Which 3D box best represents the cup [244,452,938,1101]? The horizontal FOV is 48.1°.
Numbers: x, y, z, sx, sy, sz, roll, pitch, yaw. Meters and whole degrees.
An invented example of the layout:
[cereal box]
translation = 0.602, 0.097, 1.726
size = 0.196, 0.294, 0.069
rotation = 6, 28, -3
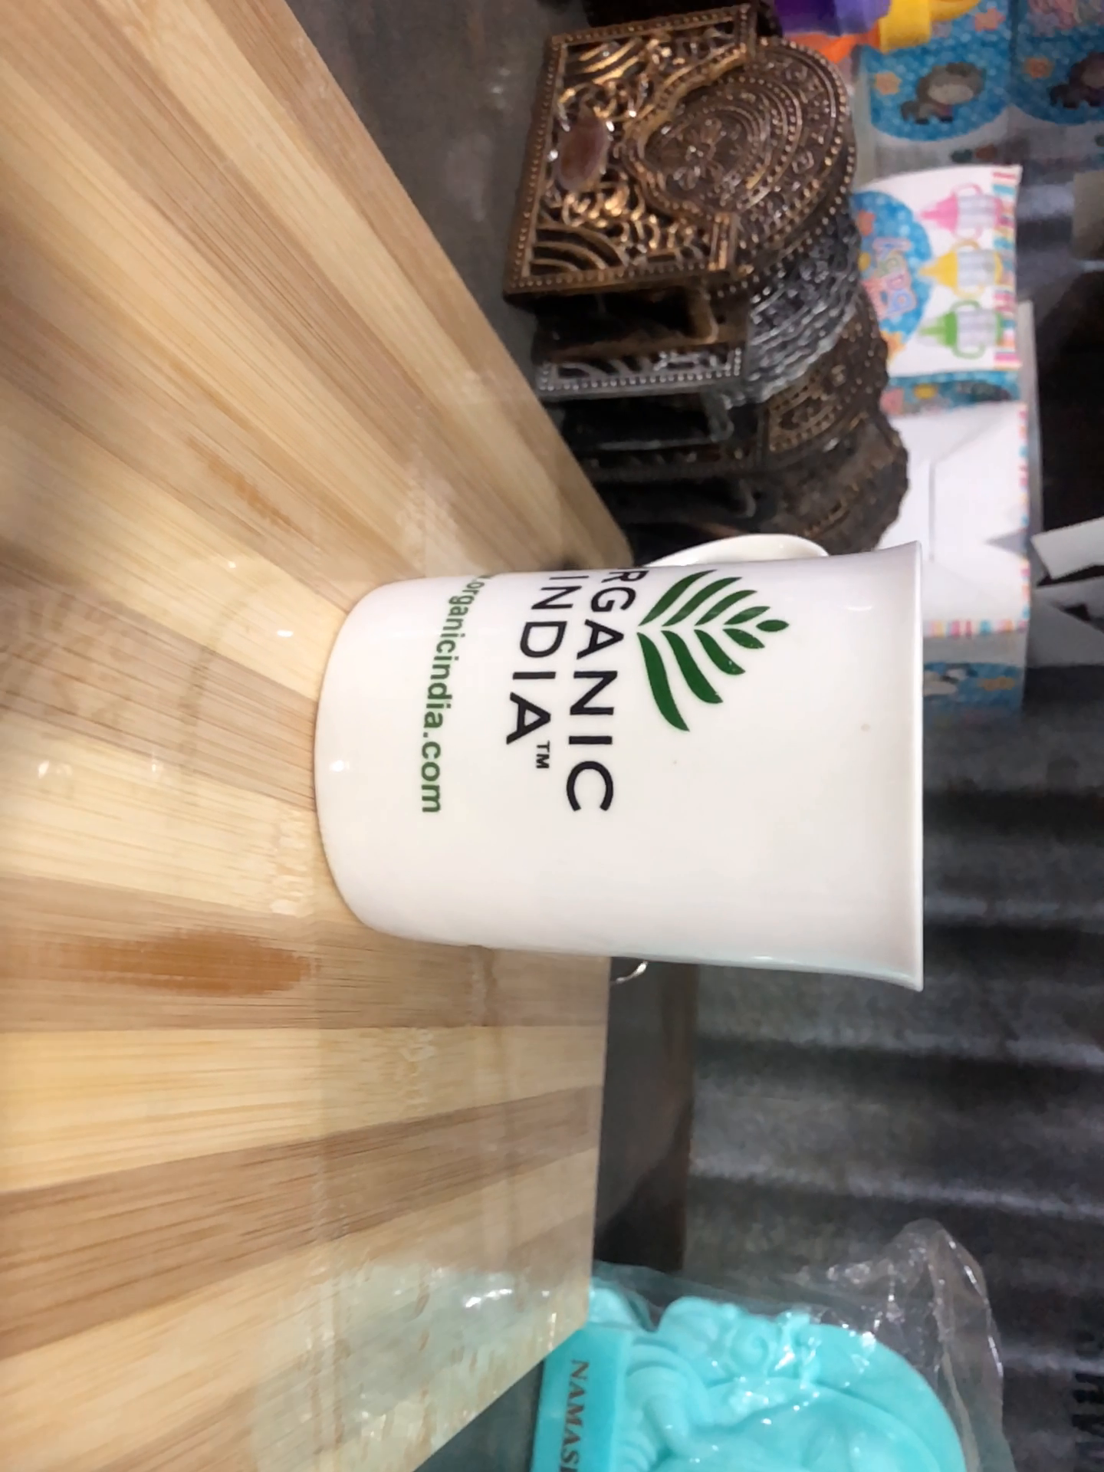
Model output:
[cup]
translation = 0.019, 0.005, 0.247
size = 0.070, 0.109, 0.100
rotation = 73, 24, -48
